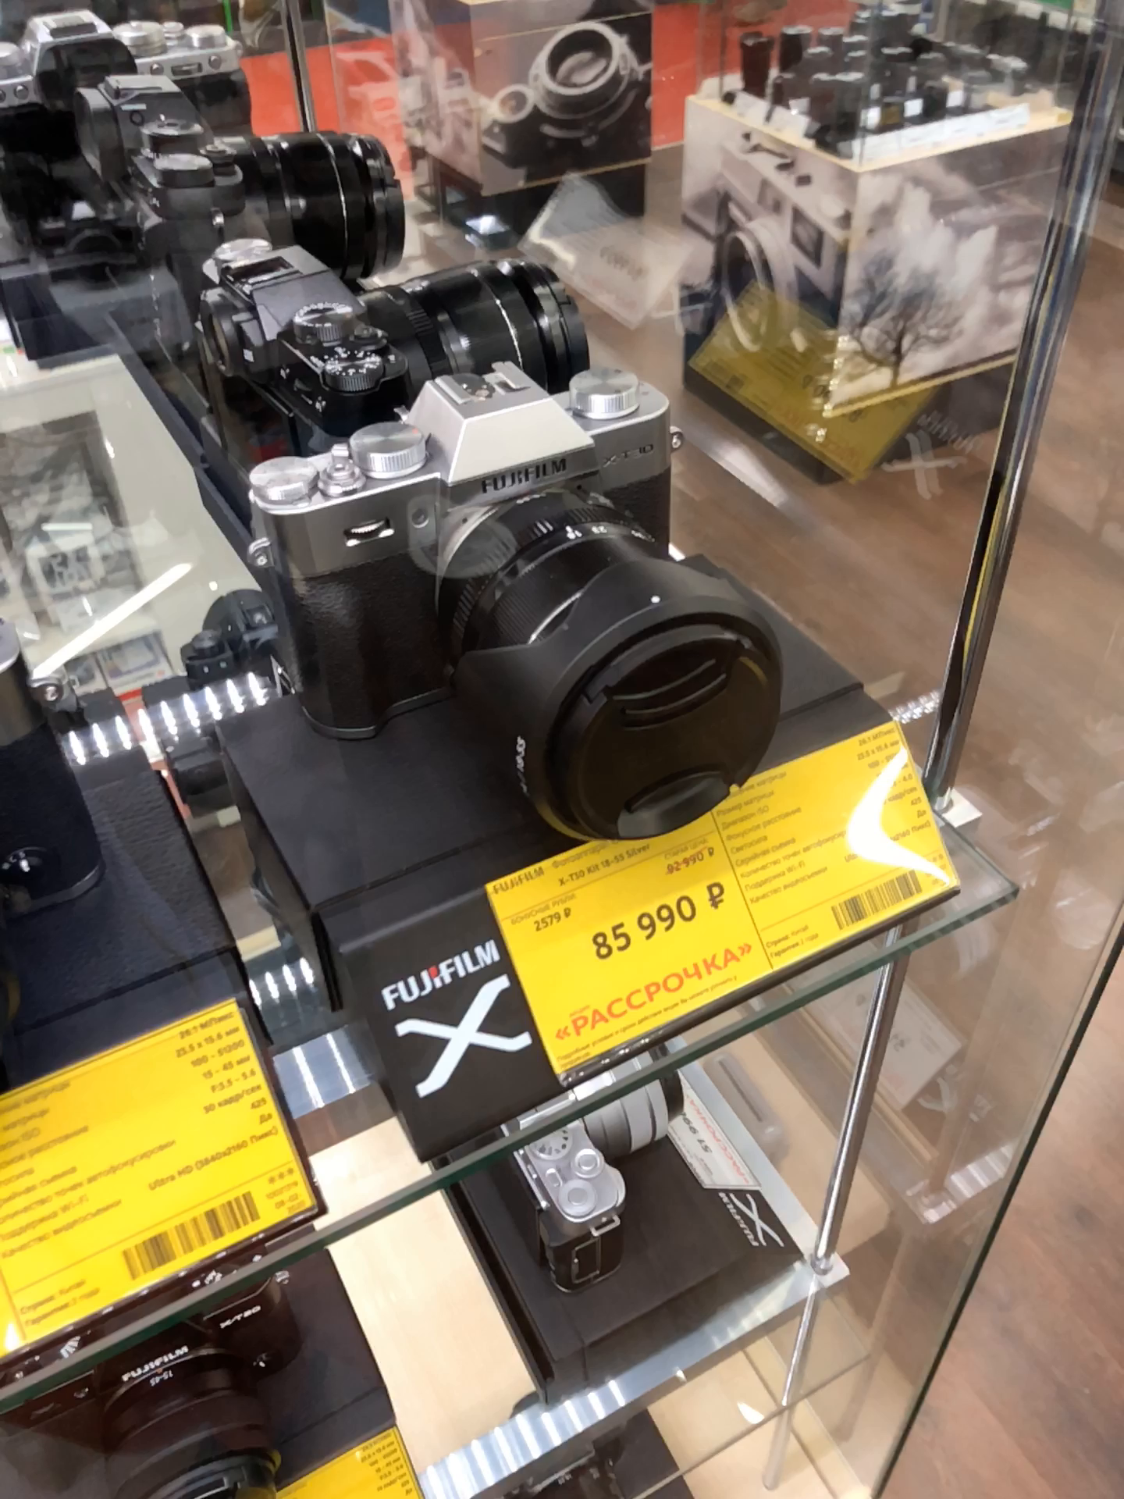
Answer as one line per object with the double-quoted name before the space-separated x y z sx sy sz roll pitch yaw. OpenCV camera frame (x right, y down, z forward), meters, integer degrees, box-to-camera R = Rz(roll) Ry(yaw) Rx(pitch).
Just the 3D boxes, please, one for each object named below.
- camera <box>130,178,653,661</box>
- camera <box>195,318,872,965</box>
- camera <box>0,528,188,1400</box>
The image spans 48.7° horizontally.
"camera" -0.060 -0.124 0.436 0.123 0.088 0.145 -22 46 -21
"camera" -0.011 -0.037 0.327 0.121 0.088 0.121 -21 45 -20
"camera" -0.168 0.035 0.257 0.135 0.088 0.104 -20 45 -20
